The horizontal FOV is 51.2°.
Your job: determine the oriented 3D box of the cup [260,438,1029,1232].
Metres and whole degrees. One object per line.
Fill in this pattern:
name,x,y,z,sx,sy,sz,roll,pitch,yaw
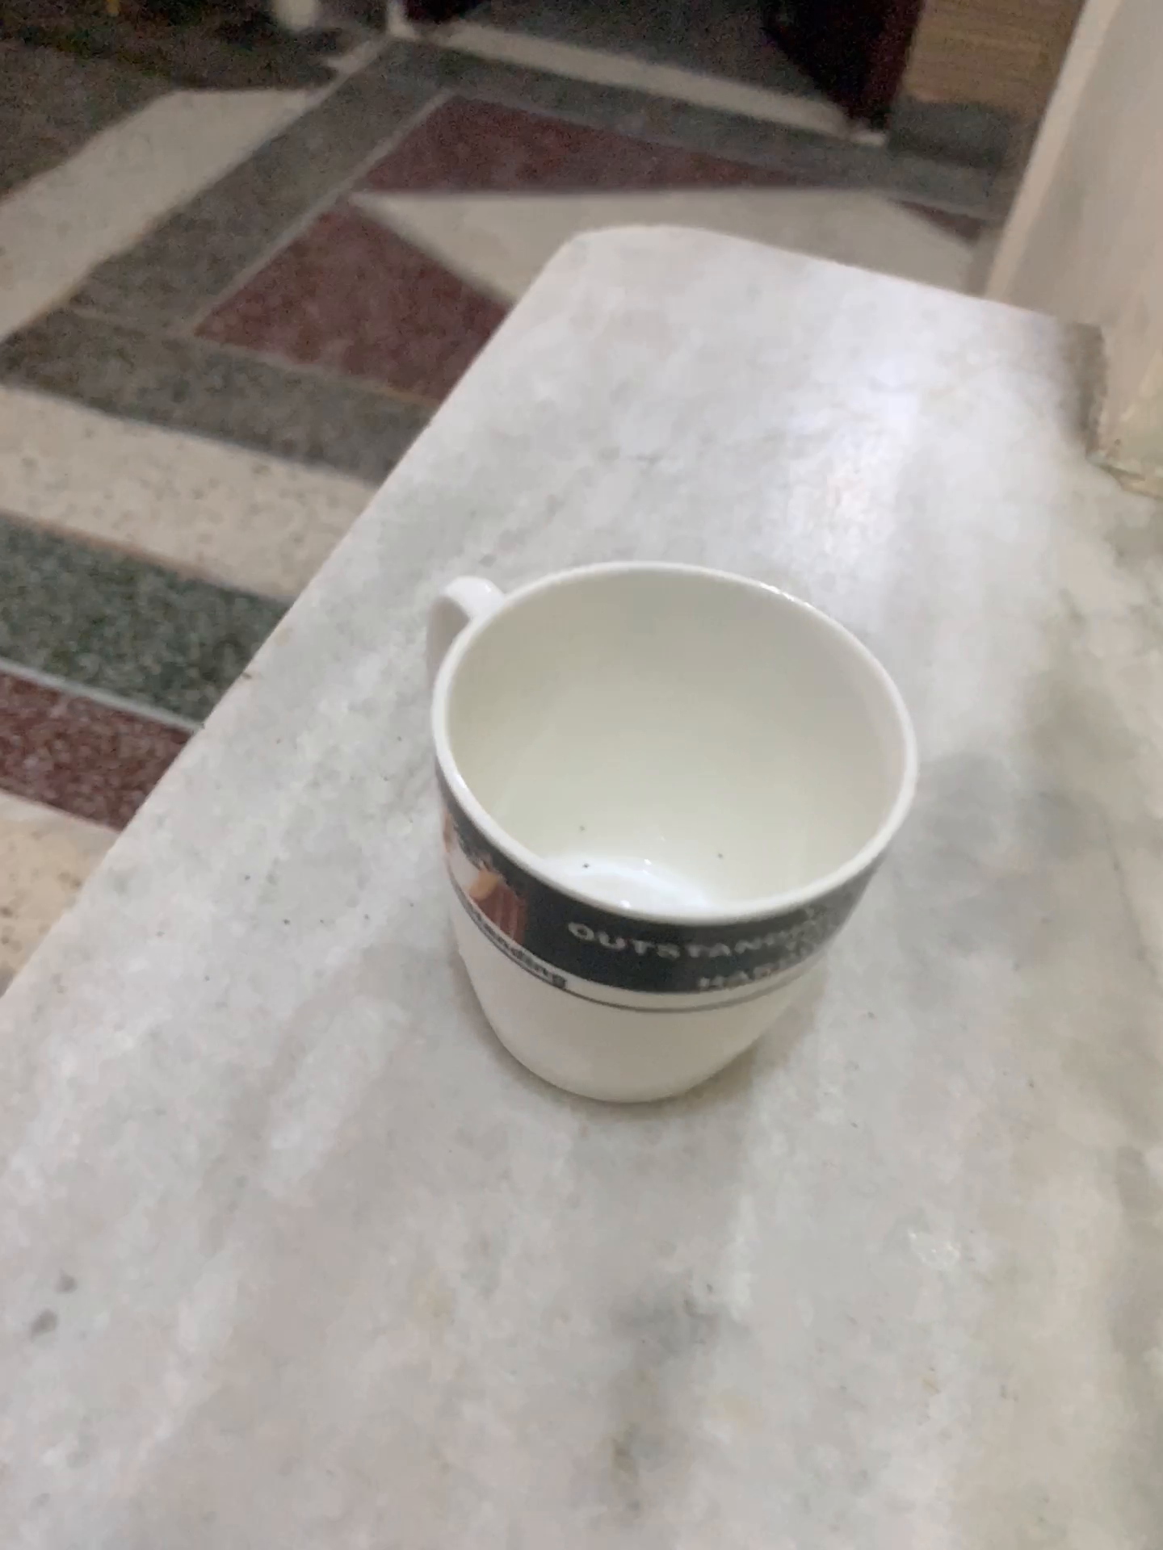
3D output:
cup,0.003,0.004,0.192,0.070,0.060,0.090,-22,55,-24
